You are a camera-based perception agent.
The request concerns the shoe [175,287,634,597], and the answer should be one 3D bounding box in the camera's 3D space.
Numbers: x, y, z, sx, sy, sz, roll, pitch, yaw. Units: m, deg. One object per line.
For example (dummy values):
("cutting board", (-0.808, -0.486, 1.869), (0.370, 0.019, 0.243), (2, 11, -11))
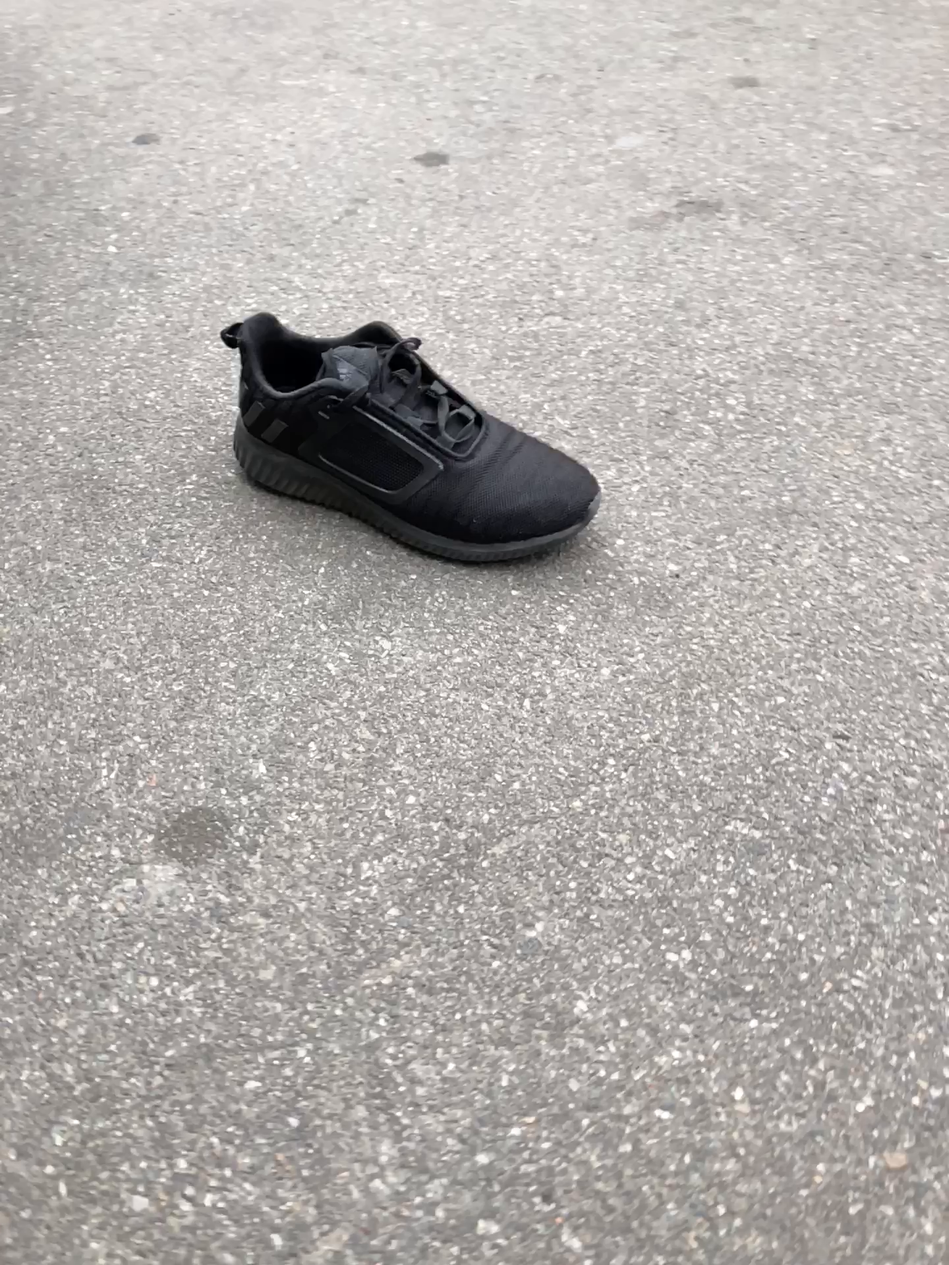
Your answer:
("shoe", (-0.046, -0.134, 0.704), (0.280, 0.109, 0.101), (18, 50, 19))
